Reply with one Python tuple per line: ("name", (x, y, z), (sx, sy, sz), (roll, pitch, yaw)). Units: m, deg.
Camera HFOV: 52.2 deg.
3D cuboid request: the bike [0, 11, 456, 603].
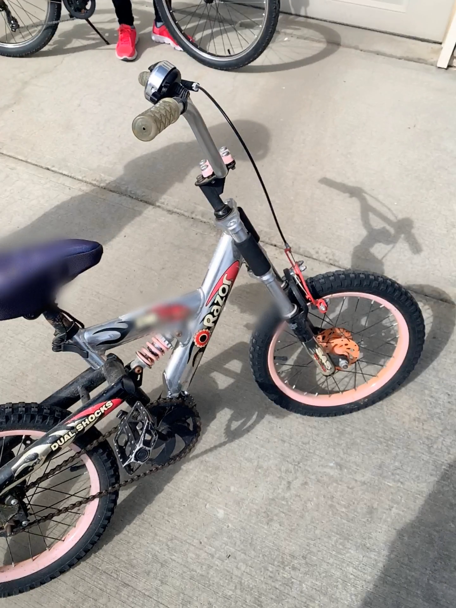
("bike", (-0.124, -0.019, 0.869), (1.124, 0.691, 0.359), (-24, 54, -21))
